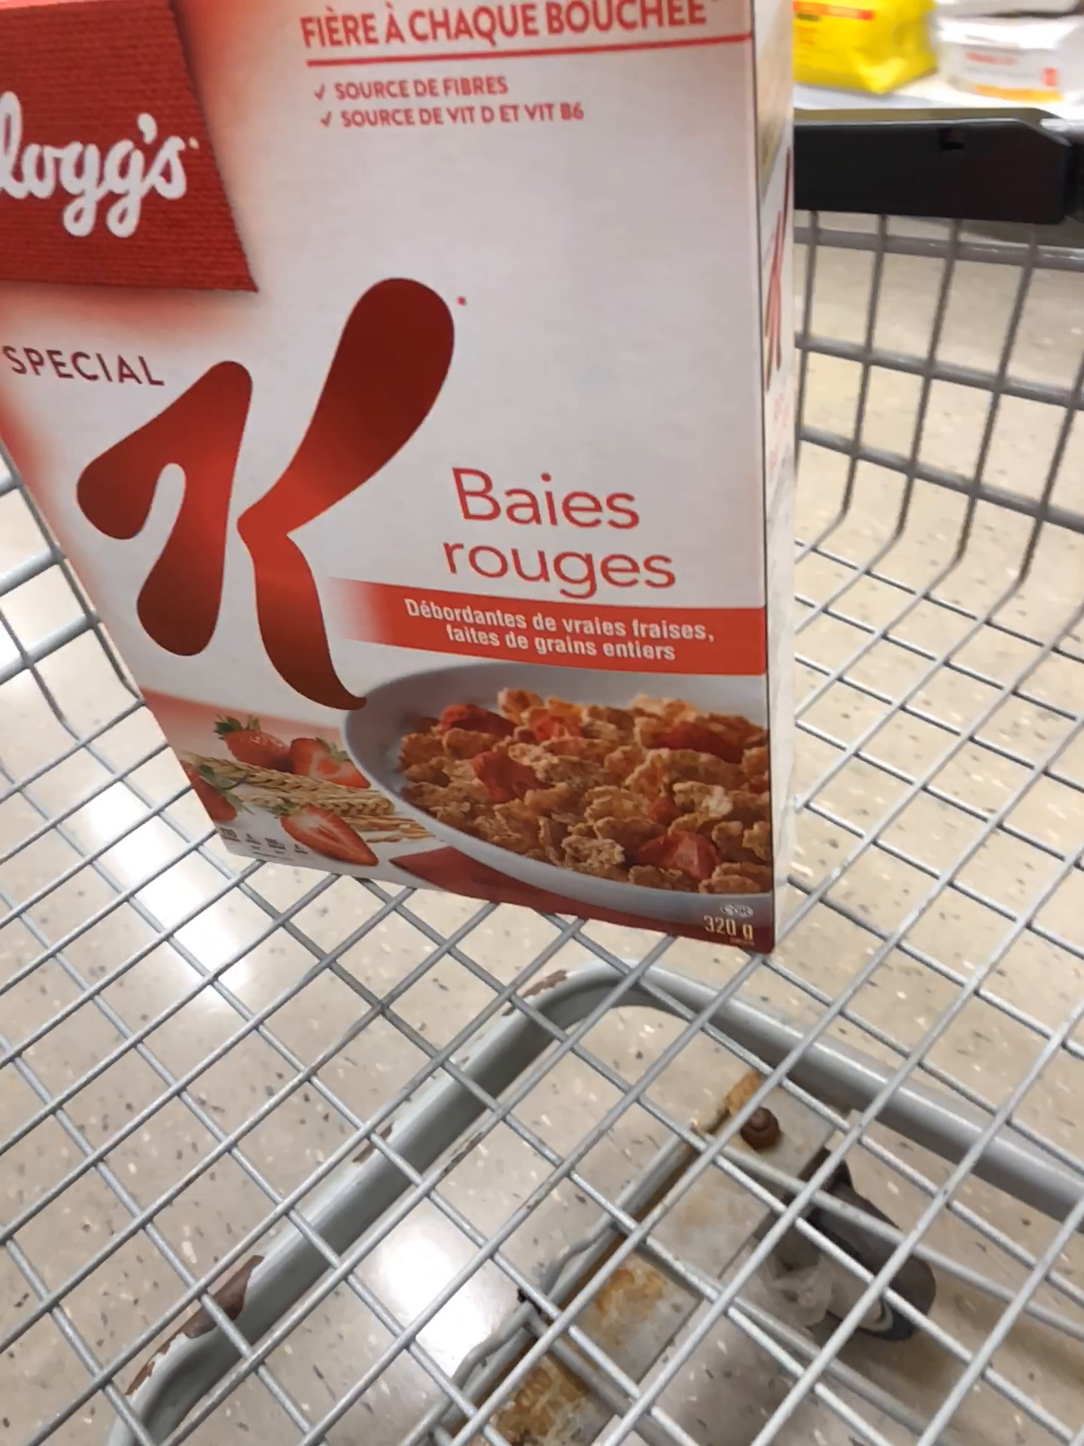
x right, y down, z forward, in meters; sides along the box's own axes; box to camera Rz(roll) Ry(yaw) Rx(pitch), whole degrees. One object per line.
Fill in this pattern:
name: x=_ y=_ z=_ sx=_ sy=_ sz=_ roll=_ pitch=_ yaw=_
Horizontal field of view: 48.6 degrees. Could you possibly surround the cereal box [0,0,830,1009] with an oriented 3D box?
cereal box: x=-0.040 y=-0.045 z=0.307 sx=0.210 sy=0.269 sz=0.050 roll=8 pitch=46 yaw=20
